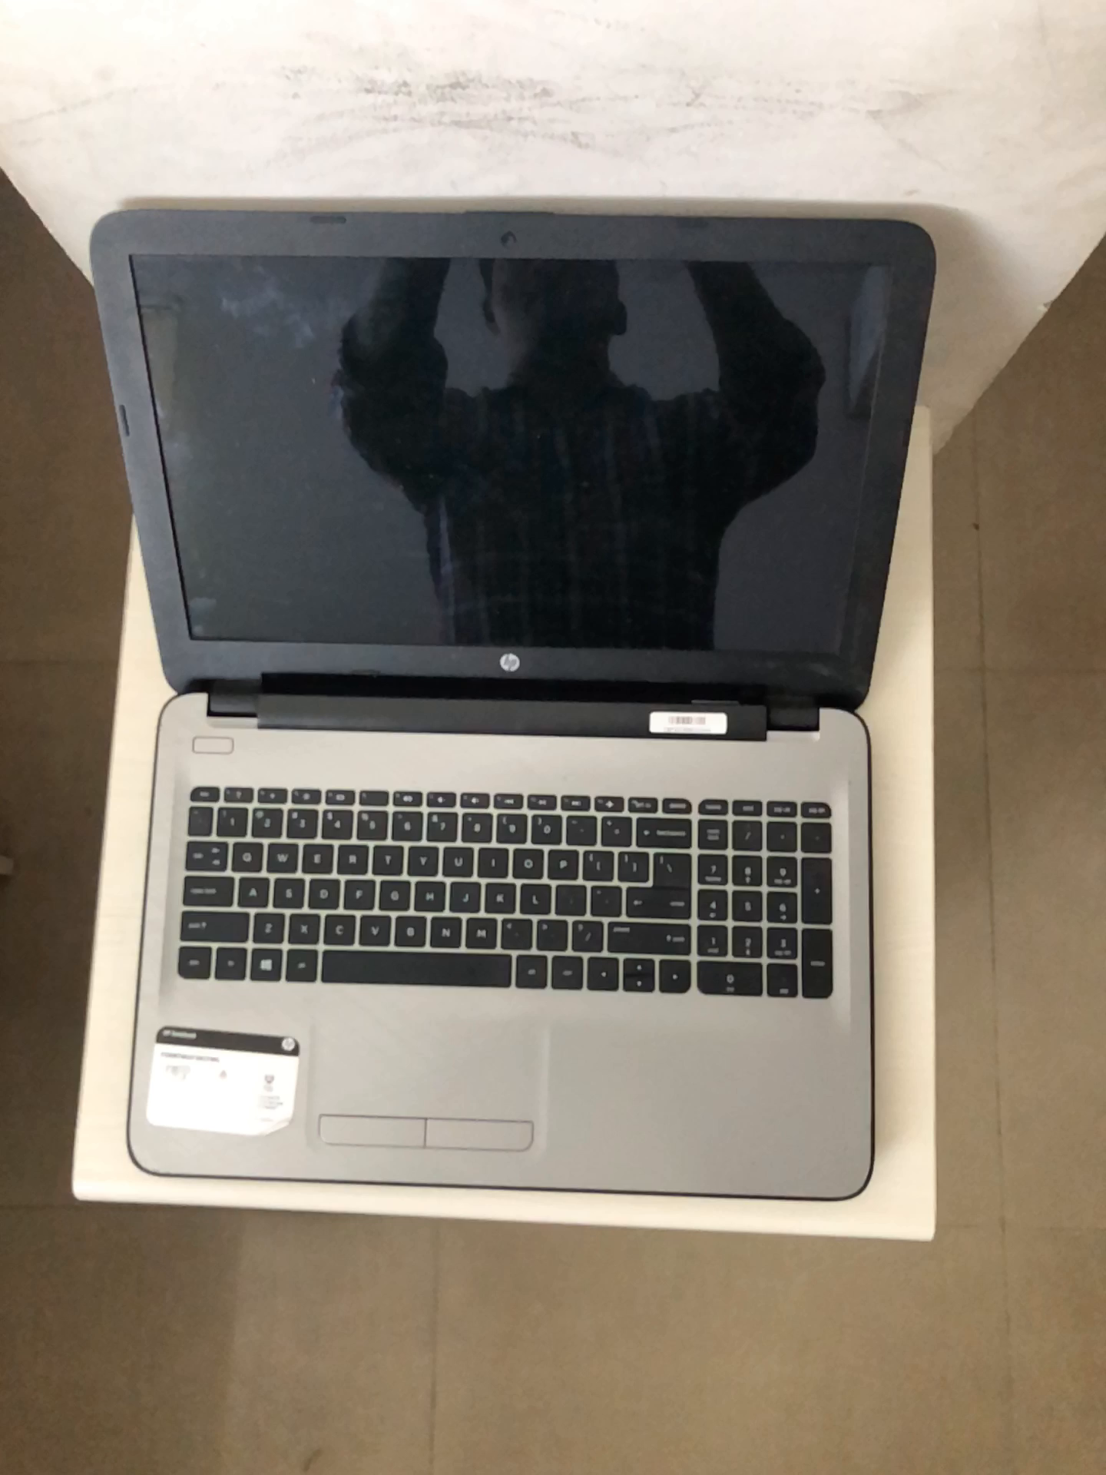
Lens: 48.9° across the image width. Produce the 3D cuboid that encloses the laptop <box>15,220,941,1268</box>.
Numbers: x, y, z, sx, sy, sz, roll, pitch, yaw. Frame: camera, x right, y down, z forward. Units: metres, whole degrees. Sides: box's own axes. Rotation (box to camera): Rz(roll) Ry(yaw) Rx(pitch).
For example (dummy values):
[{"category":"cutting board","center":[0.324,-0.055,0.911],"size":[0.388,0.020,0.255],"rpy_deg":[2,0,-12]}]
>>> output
[{"category":"laptop","center":[-0.023,-0.001,0.567],"size":[0.361,0.137,0.425],"rpy_deg":[1,83,2]}]
